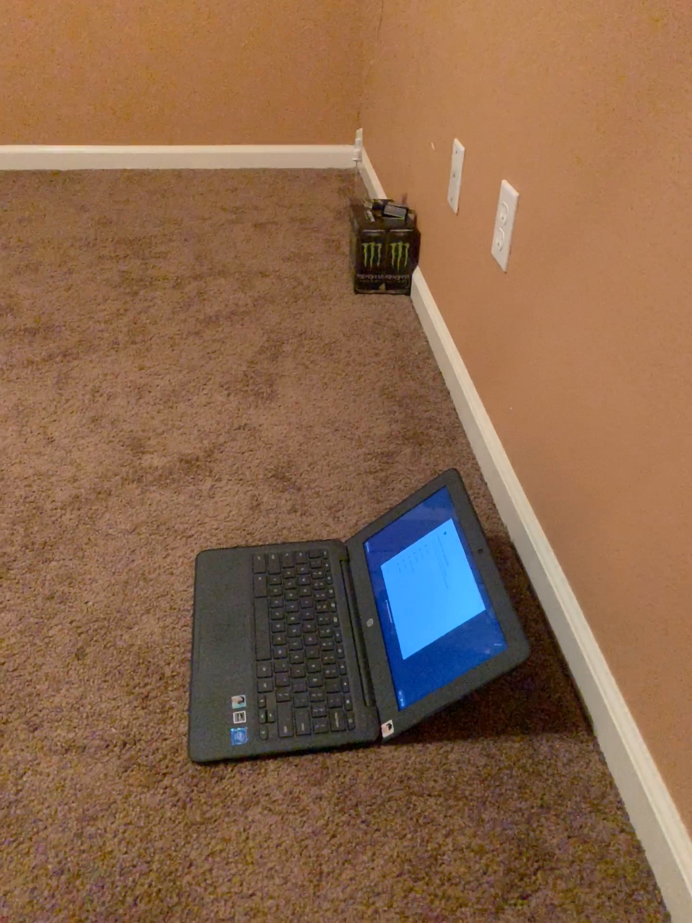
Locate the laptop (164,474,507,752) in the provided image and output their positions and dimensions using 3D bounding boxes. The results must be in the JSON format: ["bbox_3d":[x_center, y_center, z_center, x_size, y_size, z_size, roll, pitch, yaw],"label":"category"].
[{"bbox_3d":[-0.024,0.160,0.830,0.331,0.124,0.290,-2,37,-6],"label":"laptop"}]
